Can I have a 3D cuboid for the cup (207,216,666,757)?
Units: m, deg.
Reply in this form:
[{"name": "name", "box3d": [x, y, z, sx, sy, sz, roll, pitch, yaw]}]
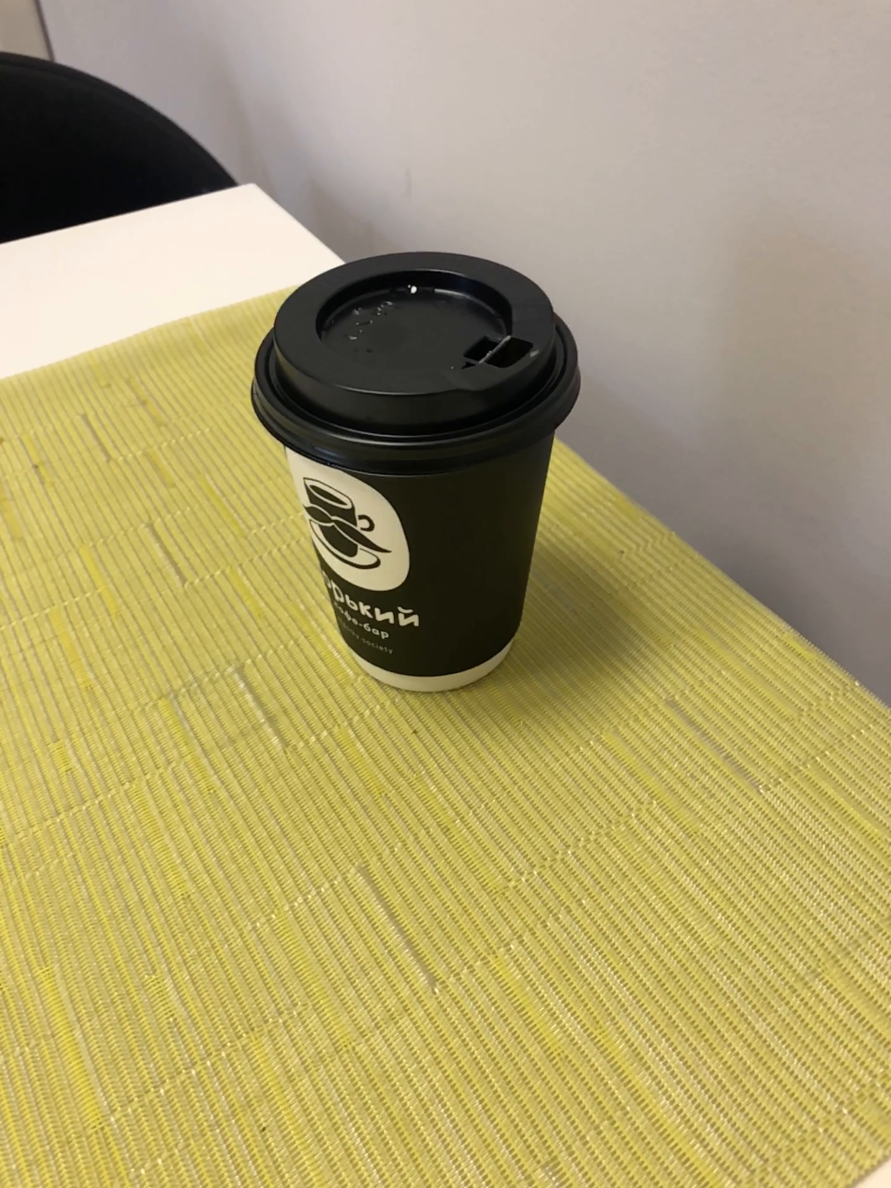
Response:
[{"name": "cup", "box3d": [-0.001, -0.036, 0.320, 0.092, 0.119, 0.090, -1, 45, 1]}]
